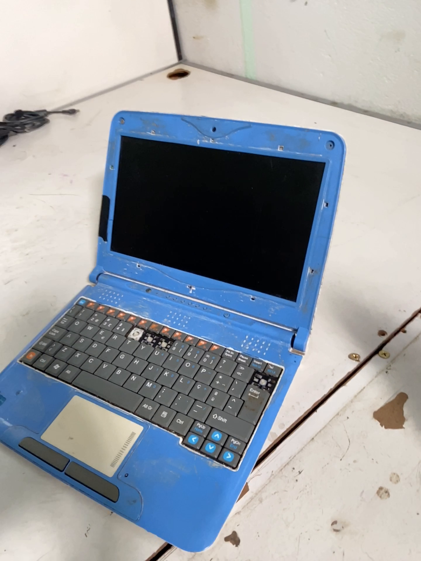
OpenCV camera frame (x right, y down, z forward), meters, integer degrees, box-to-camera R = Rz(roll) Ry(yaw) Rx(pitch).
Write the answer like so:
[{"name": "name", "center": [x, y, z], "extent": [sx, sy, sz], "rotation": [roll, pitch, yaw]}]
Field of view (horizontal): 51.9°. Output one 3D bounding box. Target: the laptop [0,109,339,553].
[{"name": "laptop", "center": [-0.054, -0.001, 0.370], "extent": [0.241, 0.149, 0.288], "rotation": [15, 49, 24]}]
